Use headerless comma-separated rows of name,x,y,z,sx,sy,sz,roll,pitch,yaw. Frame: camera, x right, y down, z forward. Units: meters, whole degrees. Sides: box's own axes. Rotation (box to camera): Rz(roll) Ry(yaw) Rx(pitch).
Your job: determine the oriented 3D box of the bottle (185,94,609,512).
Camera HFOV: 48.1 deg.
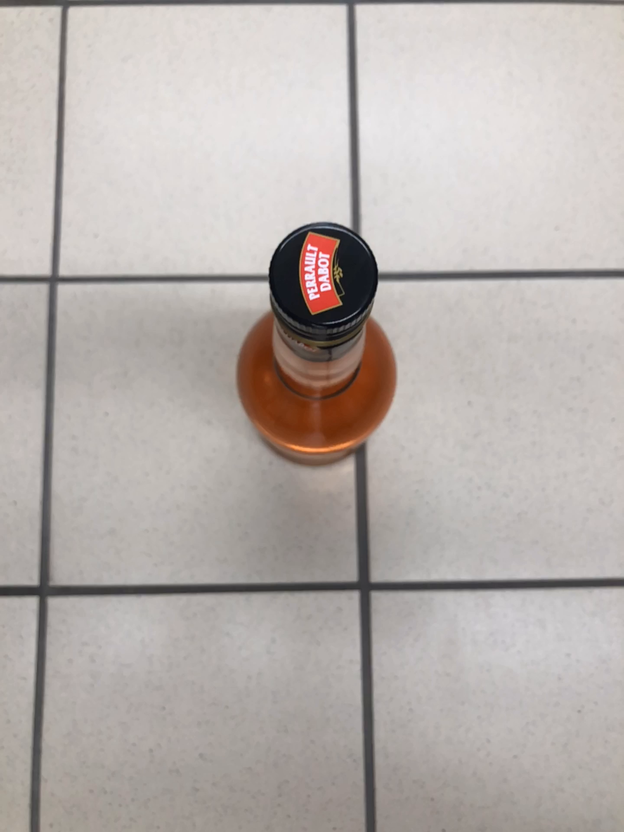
bottle,0.023,-0.018,0.316,0.090,0.240,0.080,36,83,5
